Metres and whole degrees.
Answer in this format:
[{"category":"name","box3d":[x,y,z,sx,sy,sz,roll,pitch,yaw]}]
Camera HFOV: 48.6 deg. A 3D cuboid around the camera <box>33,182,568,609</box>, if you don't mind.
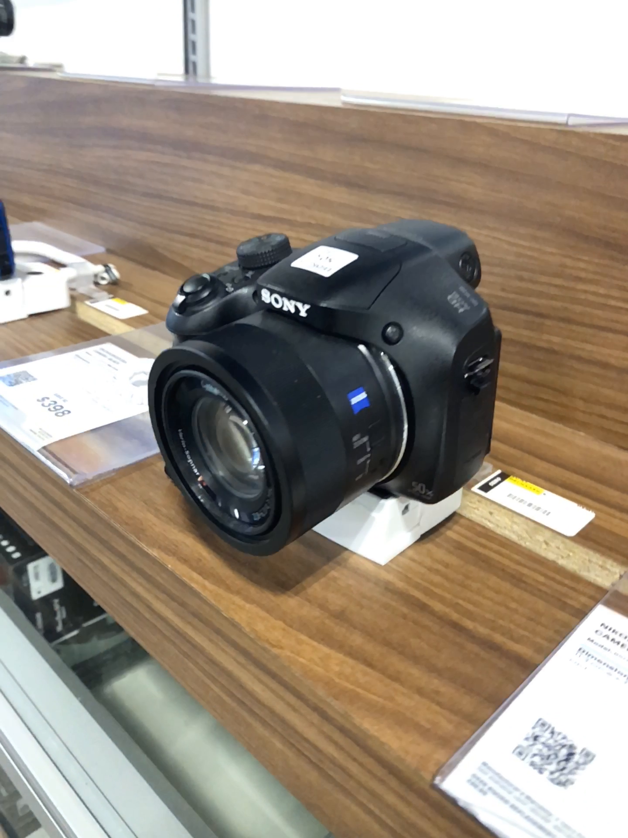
[{"category":"camera","box3d":[-0.005,-0.028,0.259,0.130,0.089,0.130,25,33,37]}]
